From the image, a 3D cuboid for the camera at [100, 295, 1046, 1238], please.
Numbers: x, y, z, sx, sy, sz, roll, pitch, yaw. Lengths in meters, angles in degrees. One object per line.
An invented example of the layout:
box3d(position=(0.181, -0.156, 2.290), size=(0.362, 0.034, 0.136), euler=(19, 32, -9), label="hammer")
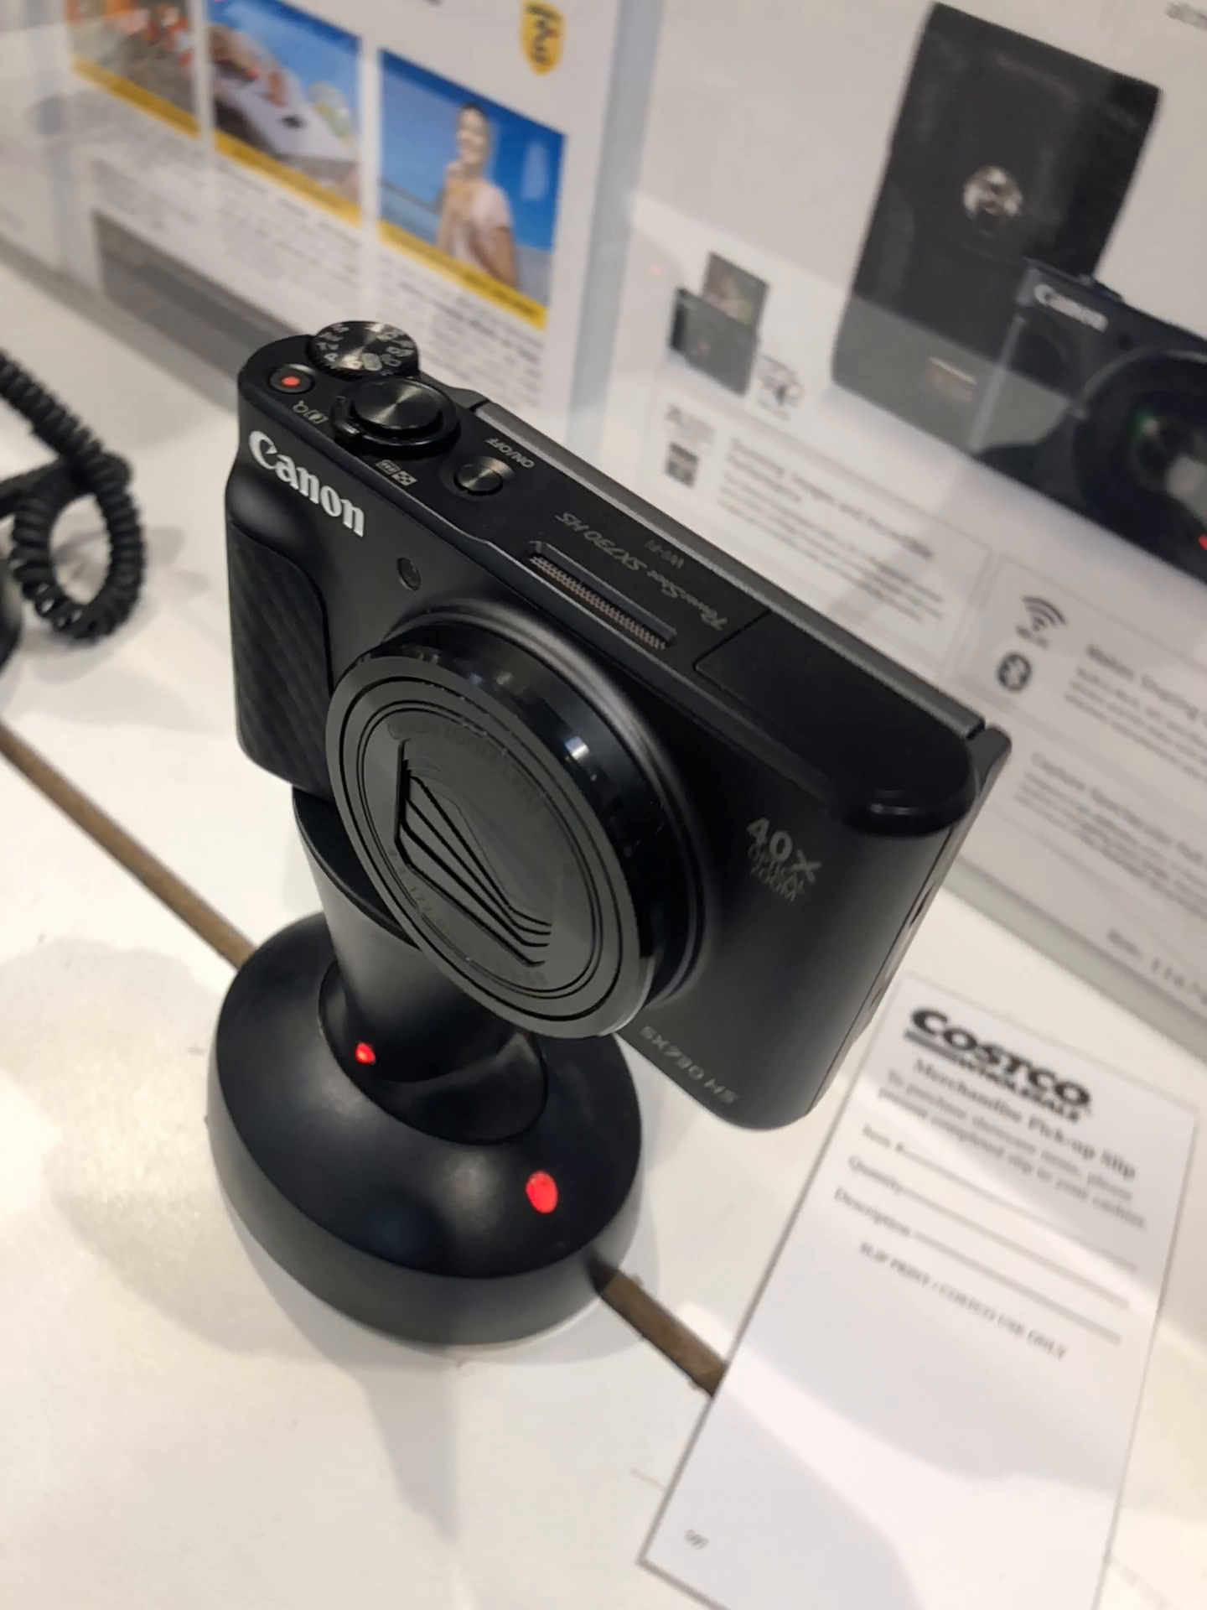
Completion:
box3d(position=(-0.011, -0.009, 0.173), size=(0.110, 0.060, 0.040), euler=(38, 51, 24), label="camera")
